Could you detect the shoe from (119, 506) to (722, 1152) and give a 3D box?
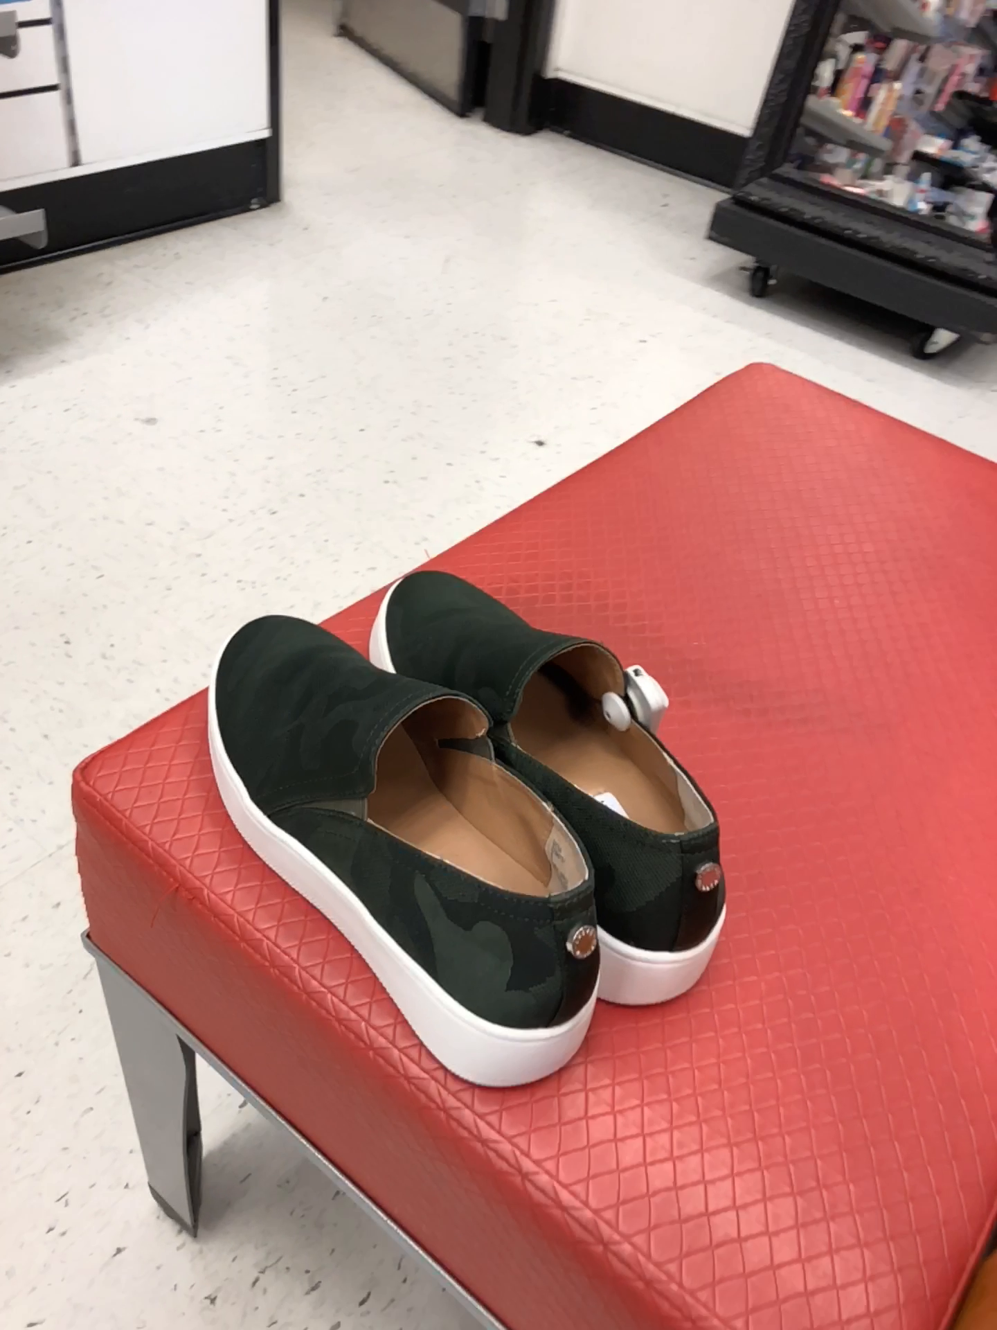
[{"bbox_3d":[-0.050,0.048,0.474,0.105,0.086,0.277,-23,49,-33],"label":"shoe"}]

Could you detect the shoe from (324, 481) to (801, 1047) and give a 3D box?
[{"bbox_3d":[0.009,0.027,0.514,0.077,0.086,0.277,-15,46,-27],"label":"shoe"}]
